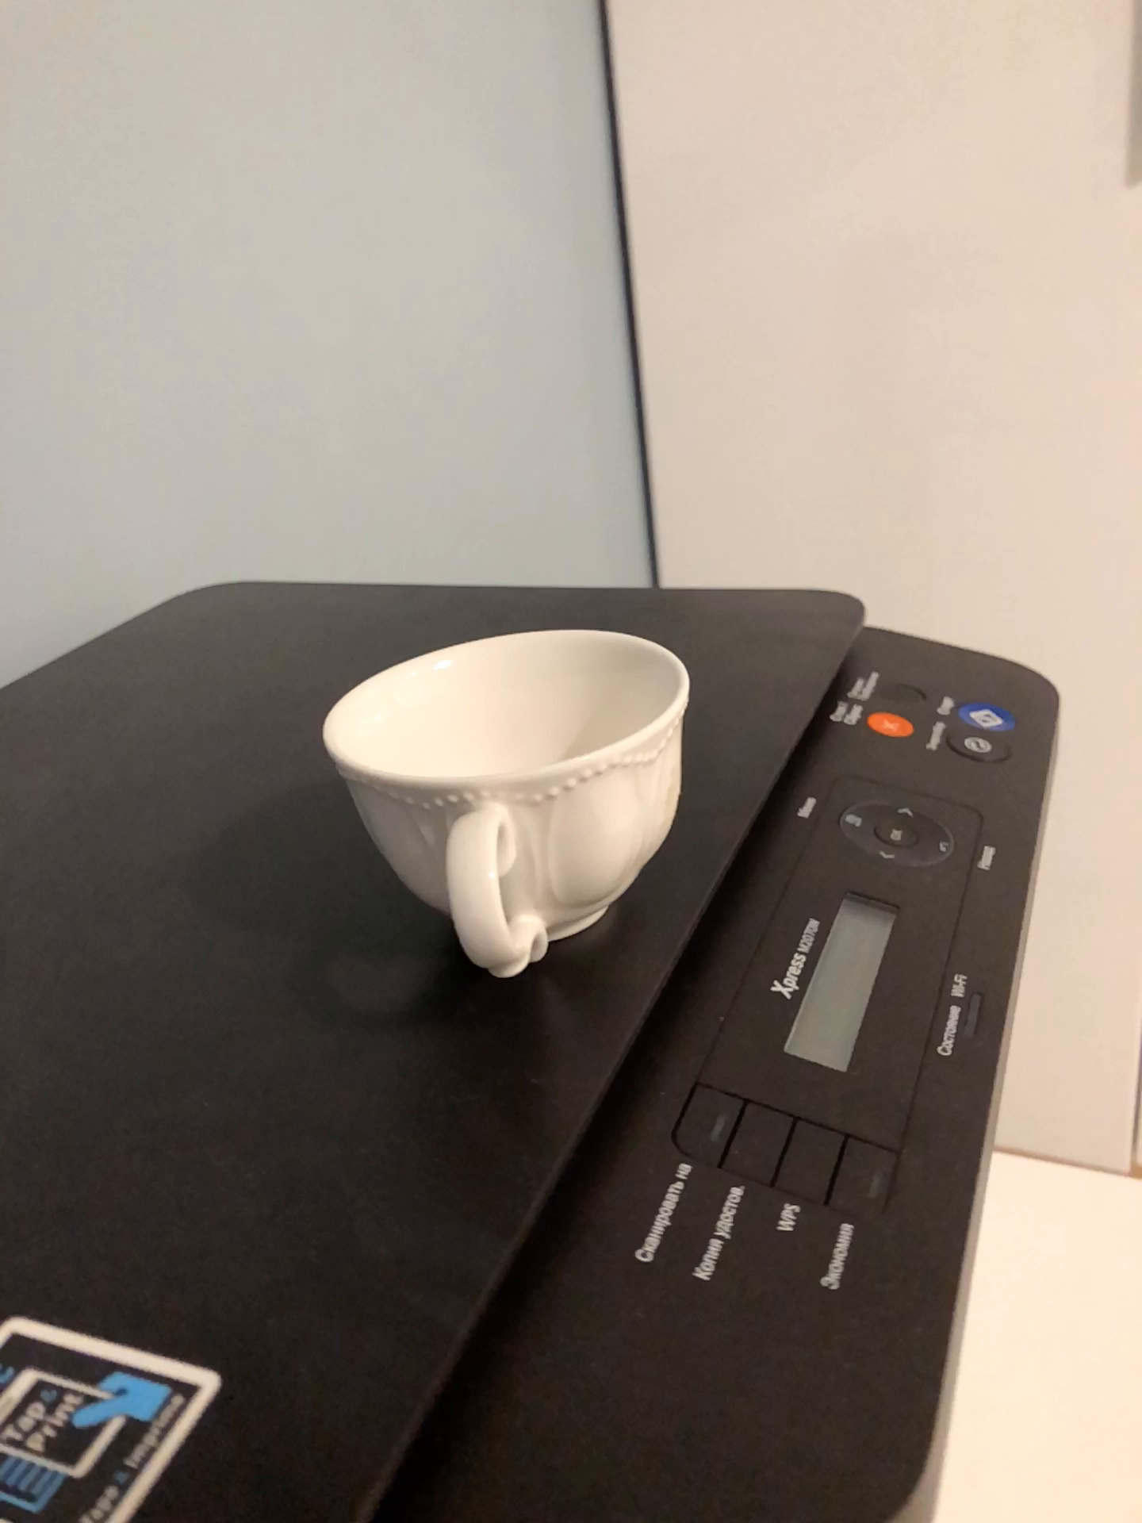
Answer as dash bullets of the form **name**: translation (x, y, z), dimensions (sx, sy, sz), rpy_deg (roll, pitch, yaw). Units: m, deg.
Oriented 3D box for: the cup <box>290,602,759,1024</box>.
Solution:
- **cup**: translation (-0.006, 0.005, 0.262), dimensions (0.076, 0.044, 0.094), rpy_deg (-6, 23, 4)
